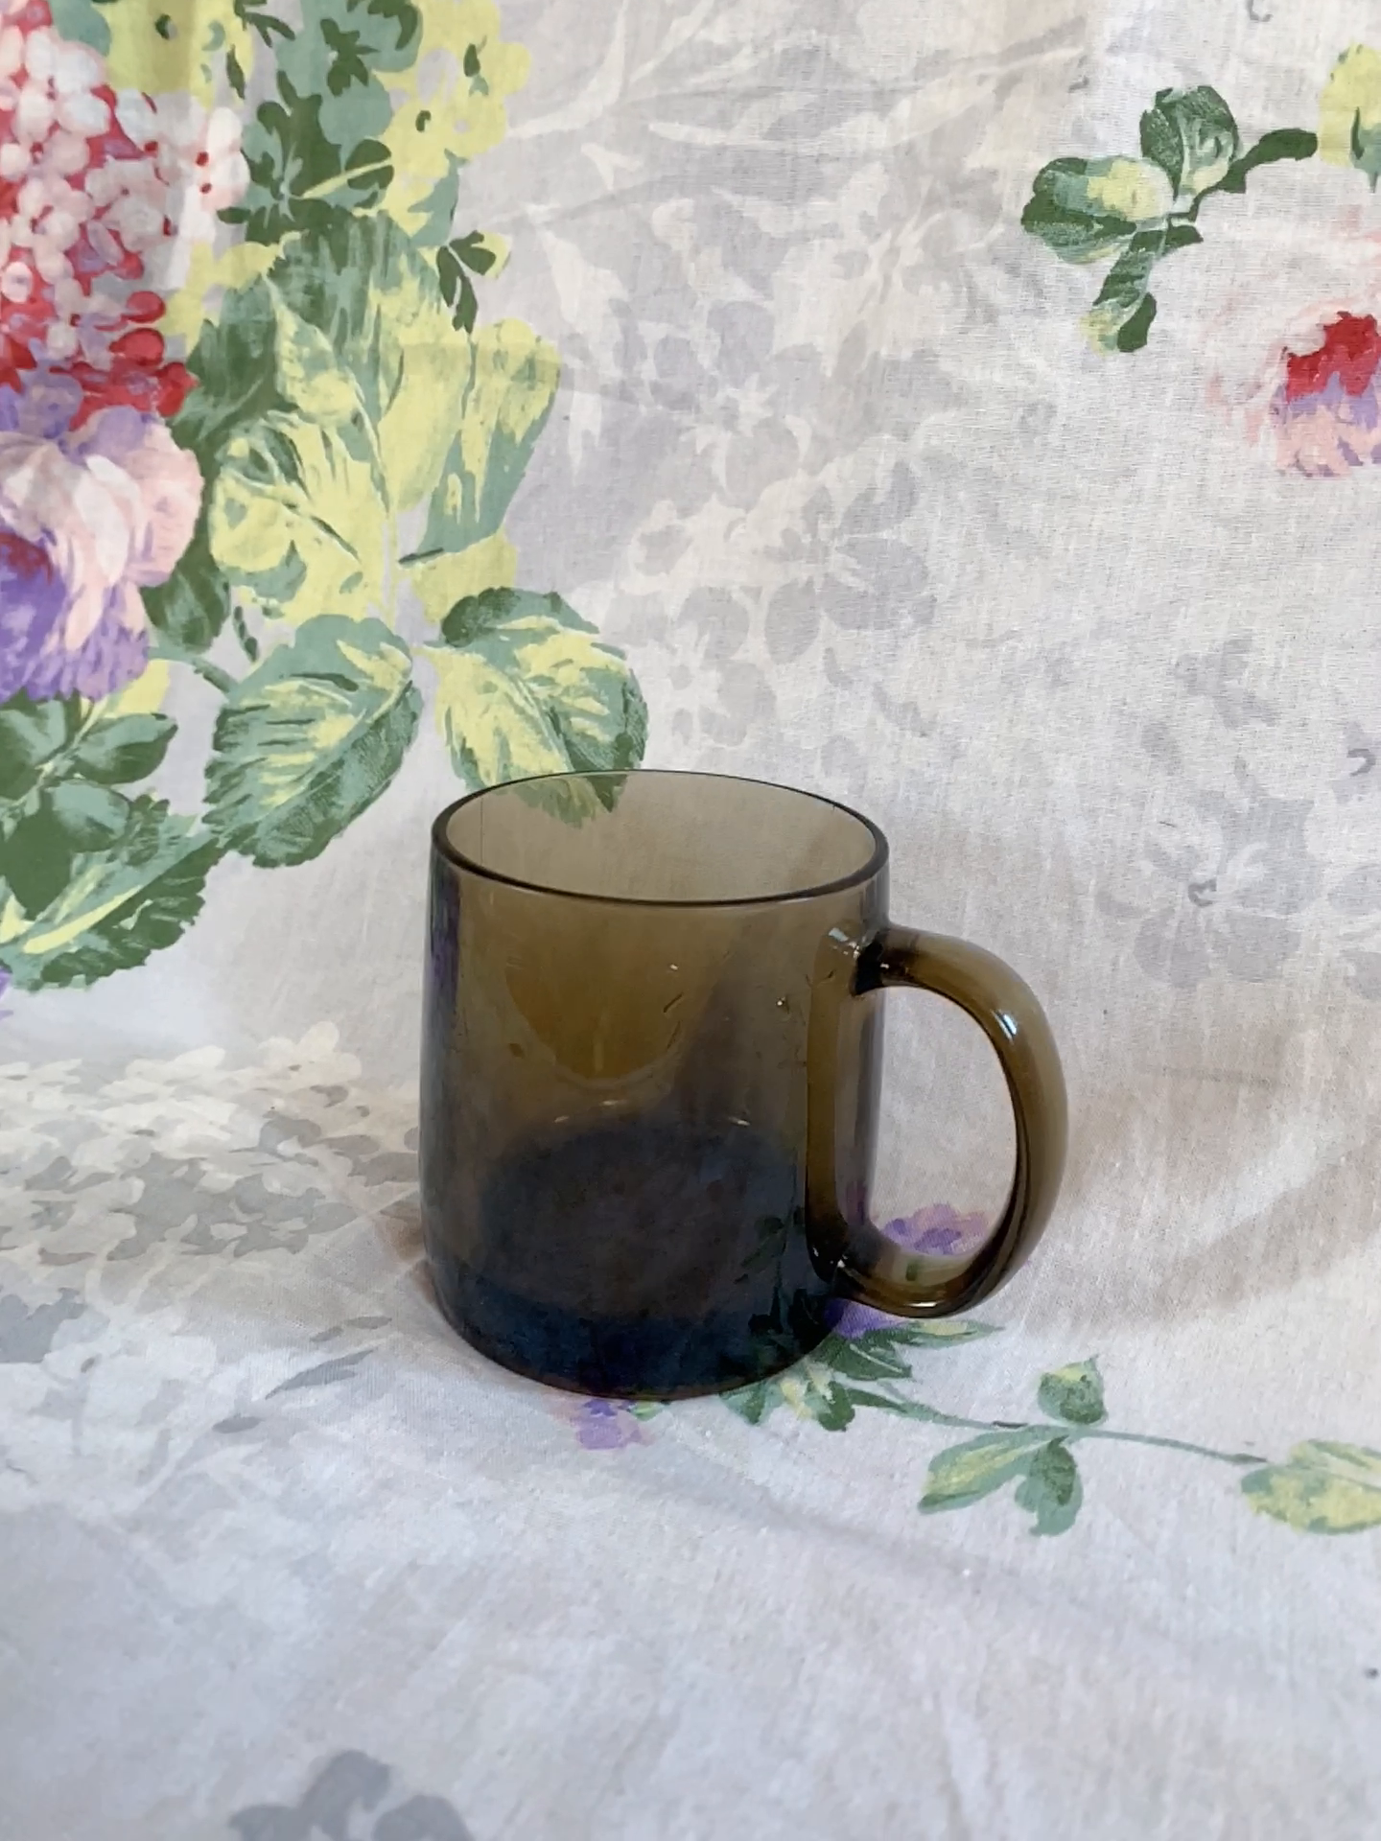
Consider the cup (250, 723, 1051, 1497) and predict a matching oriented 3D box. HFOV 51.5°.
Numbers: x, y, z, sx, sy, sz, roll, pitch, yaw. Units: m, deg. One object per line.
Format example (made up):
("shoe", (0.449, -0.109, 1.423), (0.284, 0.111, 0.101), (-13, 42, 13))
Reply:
("cup", (-0.004, 0.024, 0.270), (0.119, 0.099, 0.082), (8, 21, 21))
